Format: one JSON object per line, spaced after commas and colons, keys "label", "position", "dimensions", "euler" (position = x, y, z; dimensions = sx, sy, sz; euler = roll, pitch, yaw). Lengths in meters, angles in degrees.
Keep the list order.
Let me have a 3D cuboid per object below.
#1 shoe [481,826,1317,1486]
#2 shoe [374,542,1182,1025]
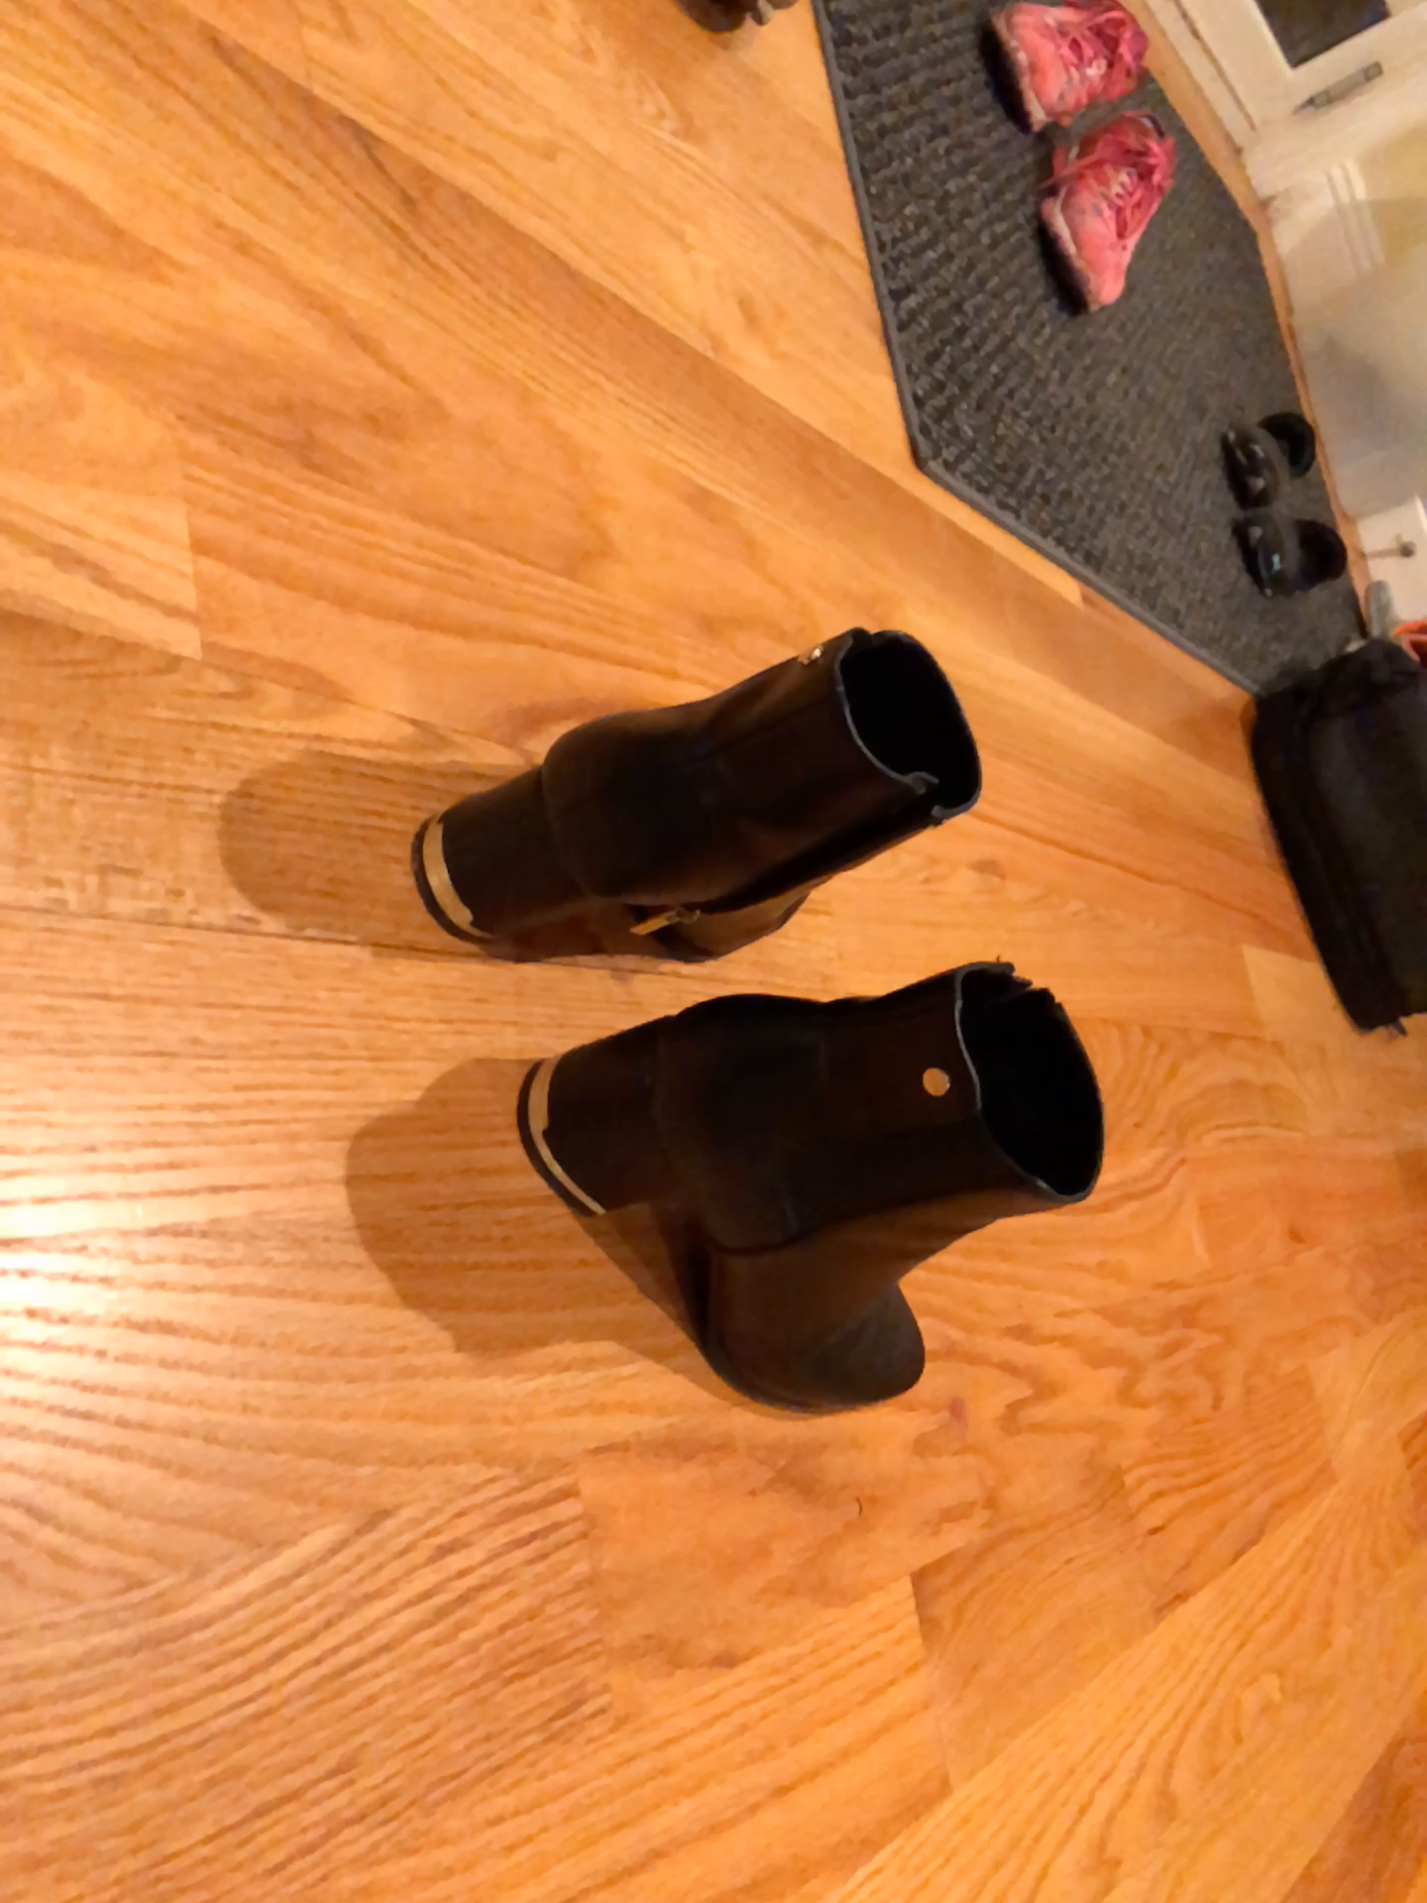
{"label": "shoe", "position": [0.076, 0.092, 0.552], "dimensions": [0.253, 0.172, 0.097], "euler": [42, 43, -38]}
{"label": "shoe", "position": [0.038, -0.058, 0.570], "dimensions": [0.254, 0.172, 0.092], "euler": [-13, 85, -57]}
